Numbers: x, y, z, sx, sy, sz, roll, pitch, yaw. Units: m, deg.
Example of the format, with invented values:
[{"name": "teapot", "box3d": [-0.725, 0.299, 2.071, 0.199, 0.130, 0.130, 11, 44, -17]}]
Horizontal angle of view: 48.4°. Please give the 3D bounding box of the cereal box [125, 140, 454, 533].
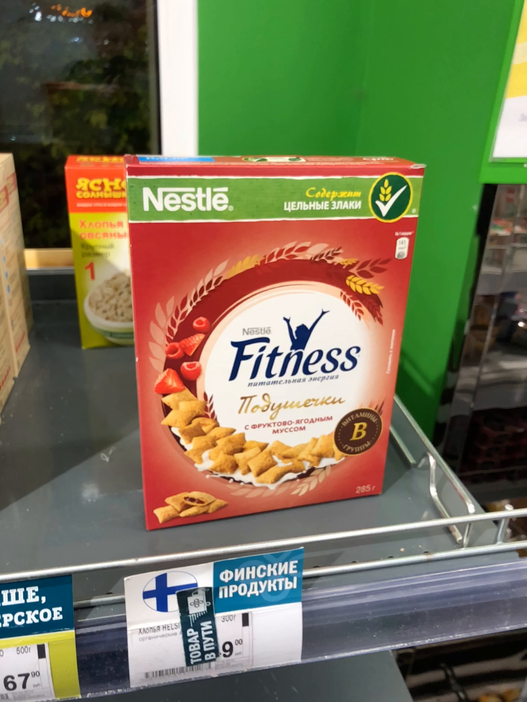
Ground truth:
[{"name": "cereal box", "box3d": [0.011, -0.009, 0.404, 0.190, 0.249, 0.060, -4, 24, -16]}]
